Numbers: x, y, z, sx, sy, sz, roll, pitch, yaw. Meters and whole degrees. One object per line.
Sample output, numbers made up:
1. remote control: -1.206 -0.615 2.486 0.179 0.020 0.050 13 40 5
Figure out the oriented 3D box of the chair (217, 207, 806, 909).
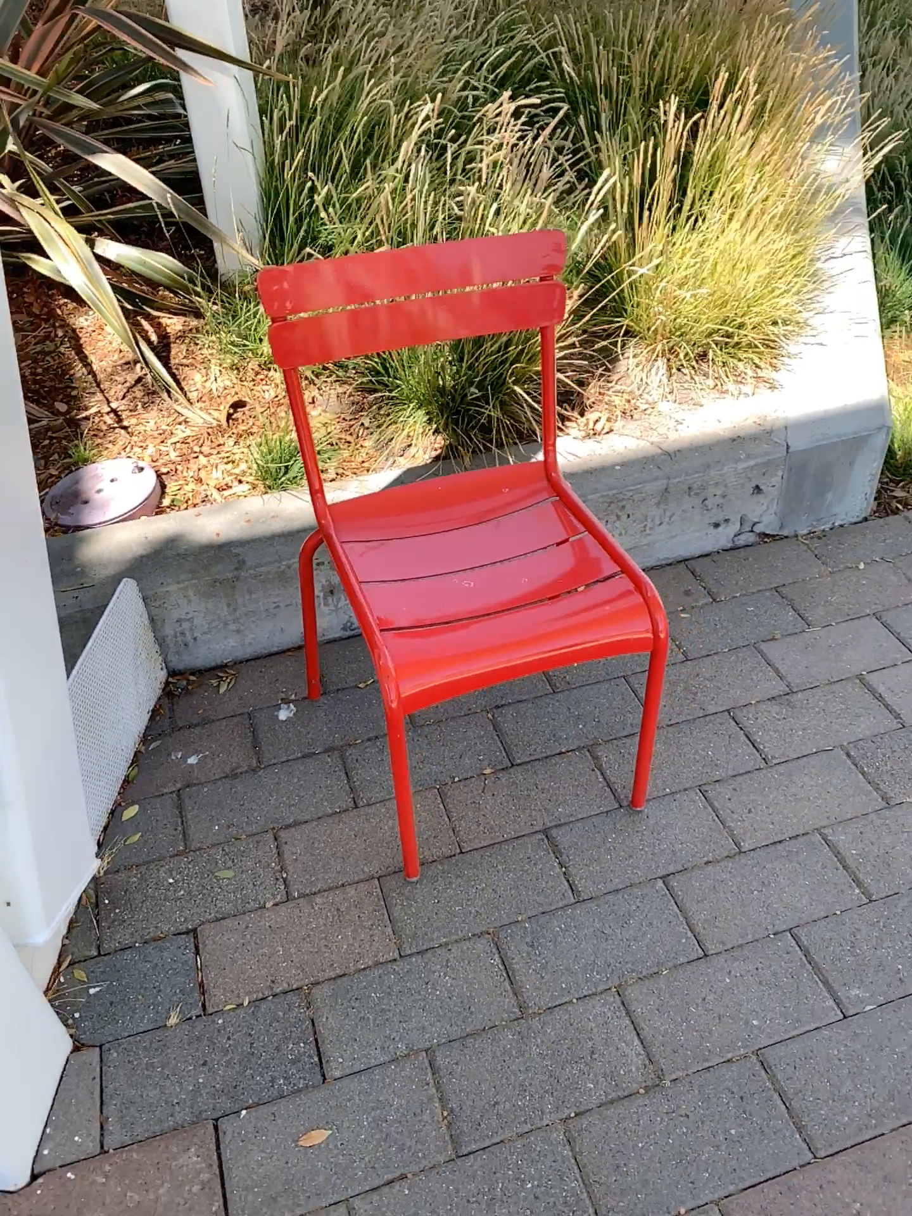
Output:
1. chair: 0.034 -0.096 1.478 0.580 0.785 0.634 -14 42 -13
